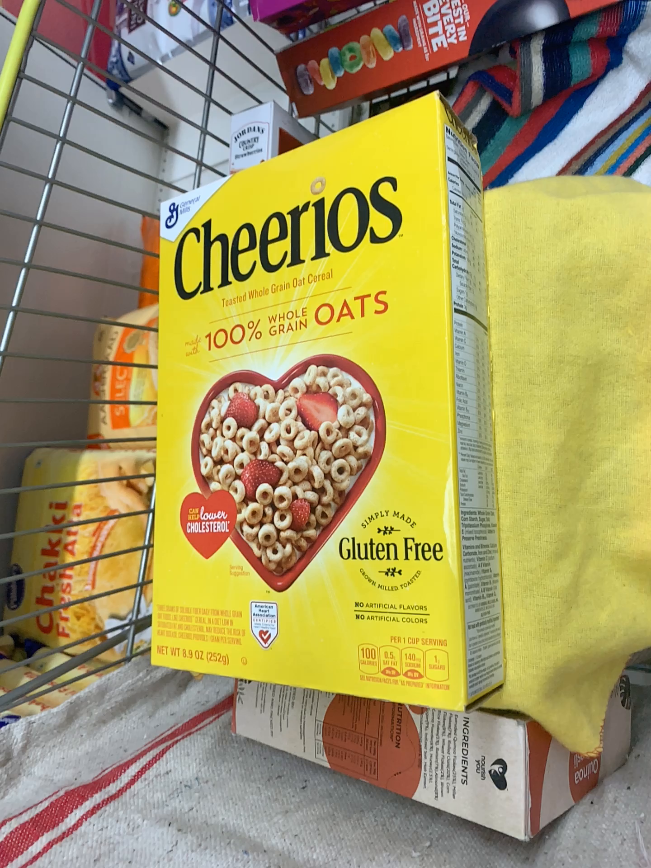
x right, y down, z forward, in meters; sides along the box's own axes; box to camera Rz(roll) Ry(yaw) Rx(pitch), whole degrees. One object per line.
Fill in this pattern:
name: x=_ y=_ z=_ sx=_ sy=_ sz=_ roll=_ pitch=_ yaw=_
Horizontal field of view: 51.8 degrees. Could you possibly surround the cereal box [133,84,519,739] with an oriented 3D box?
cereal box: x=-0.010 y=-0.006 z=0.350 sx=0.191 sy=0.060 sz=0.270 roll=-7 pitch=80 yaw=34
